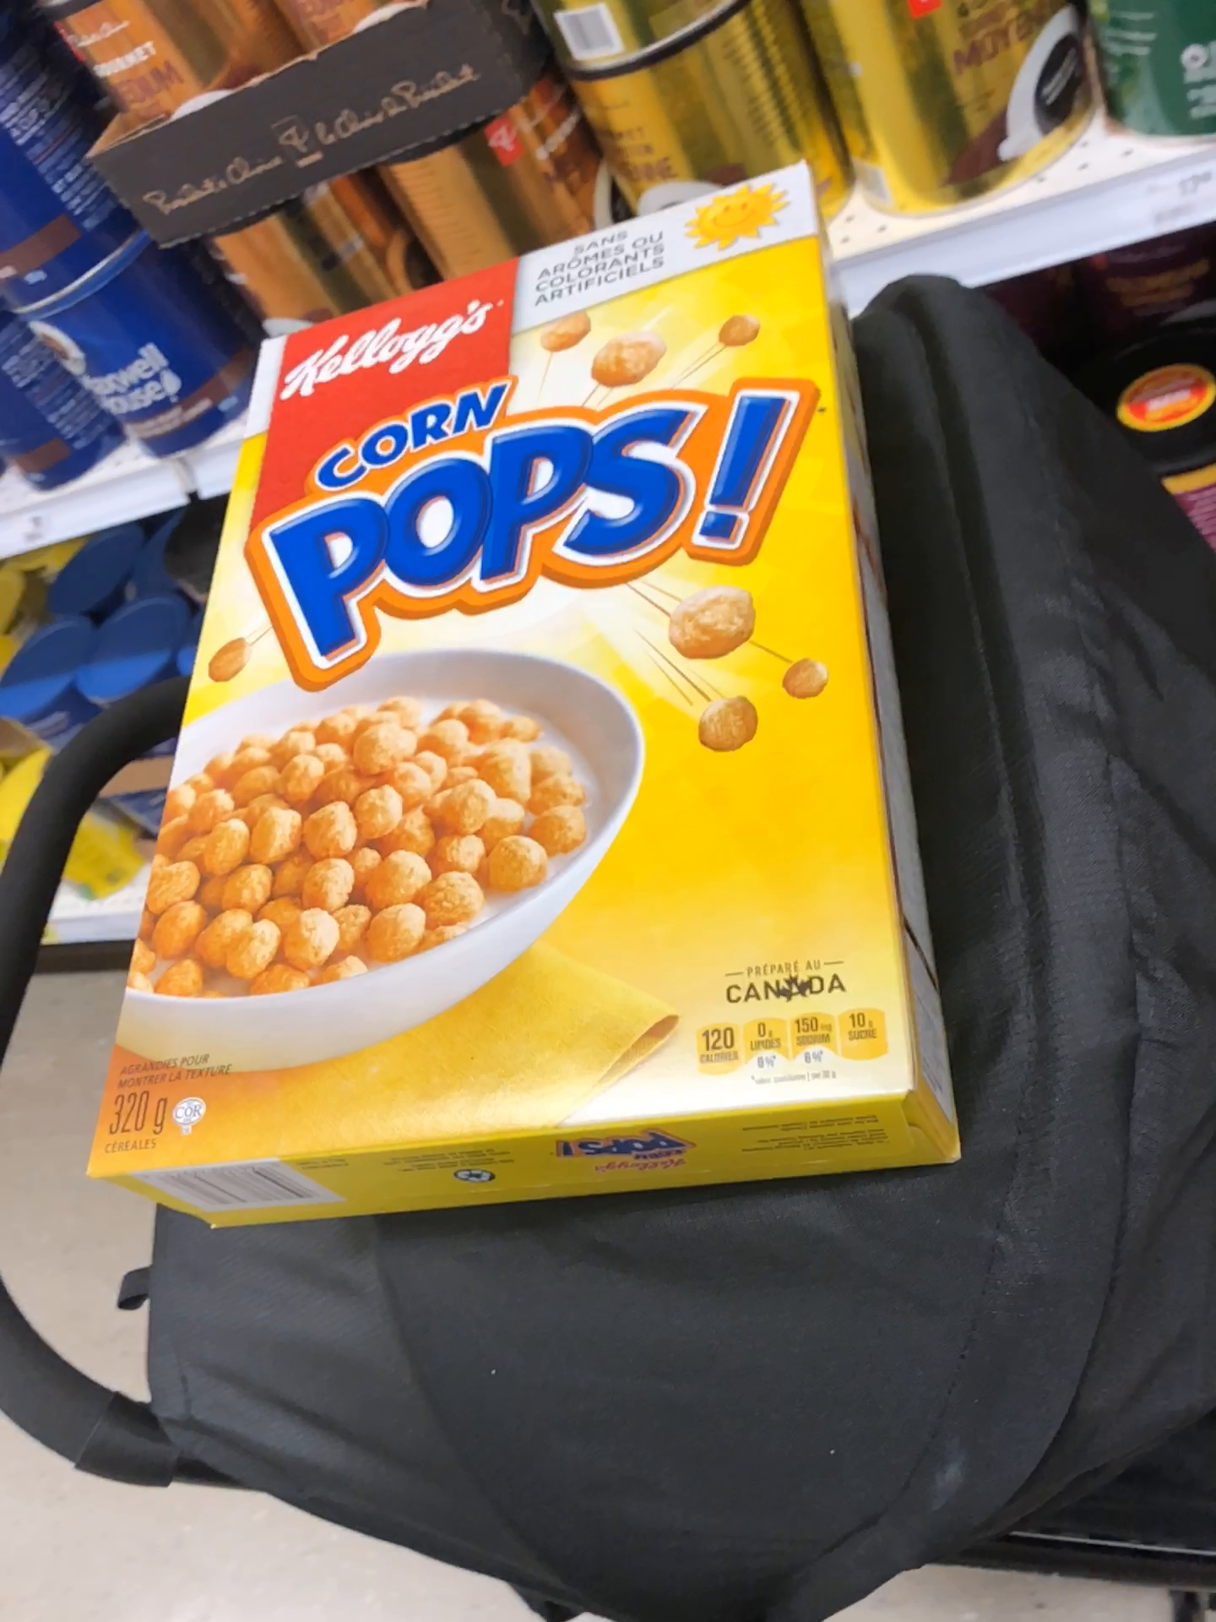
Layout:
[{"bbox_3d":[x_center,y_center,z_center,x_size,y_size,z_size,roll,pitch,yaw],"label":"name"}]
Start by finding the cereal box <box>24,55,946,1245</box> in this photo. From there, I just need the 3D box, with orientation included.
[{"bbox_3d":[-0.030,-0.056,0.383,0.200,0.060,0.321,-12,57,20],"label":"cereal box"}]
